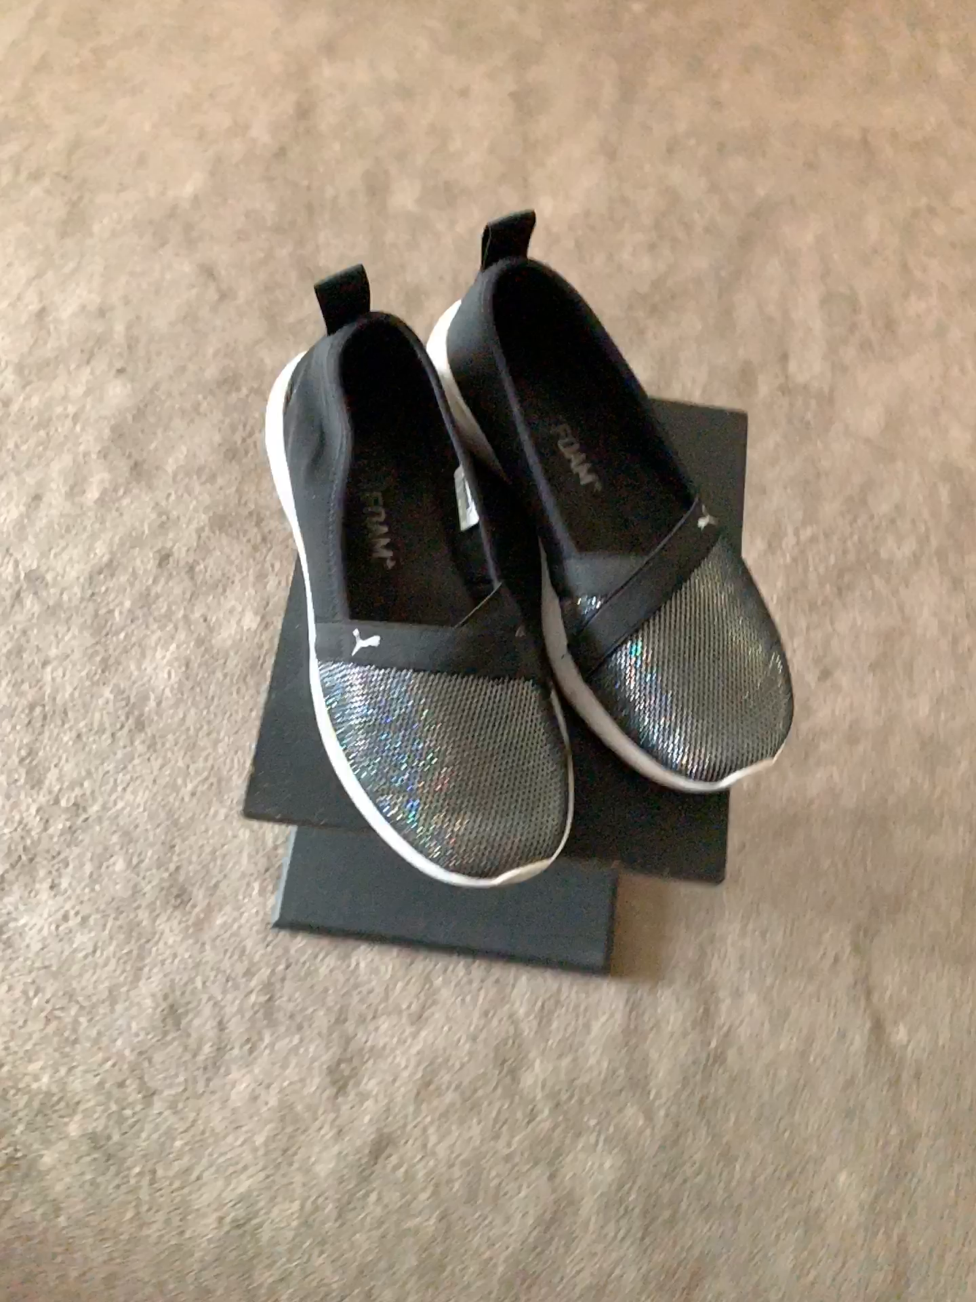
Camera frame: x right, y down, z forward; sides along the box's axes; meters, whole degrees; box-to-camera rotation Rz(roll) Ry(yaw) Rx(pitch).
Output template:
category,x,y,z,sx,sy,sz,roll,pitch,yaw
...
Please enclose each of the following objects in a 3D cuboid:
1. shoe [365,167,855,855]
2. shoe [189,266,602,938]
category,x,y,z,sx,sy,sz,roll,pitch,yaw
shoe,0.044,-0.055,0.431,0.090,0.080,0.260,-24,87,-13
shoe,-0.041,-0.020,0.414,0.090,0.080,0.240,-16,83,-10
